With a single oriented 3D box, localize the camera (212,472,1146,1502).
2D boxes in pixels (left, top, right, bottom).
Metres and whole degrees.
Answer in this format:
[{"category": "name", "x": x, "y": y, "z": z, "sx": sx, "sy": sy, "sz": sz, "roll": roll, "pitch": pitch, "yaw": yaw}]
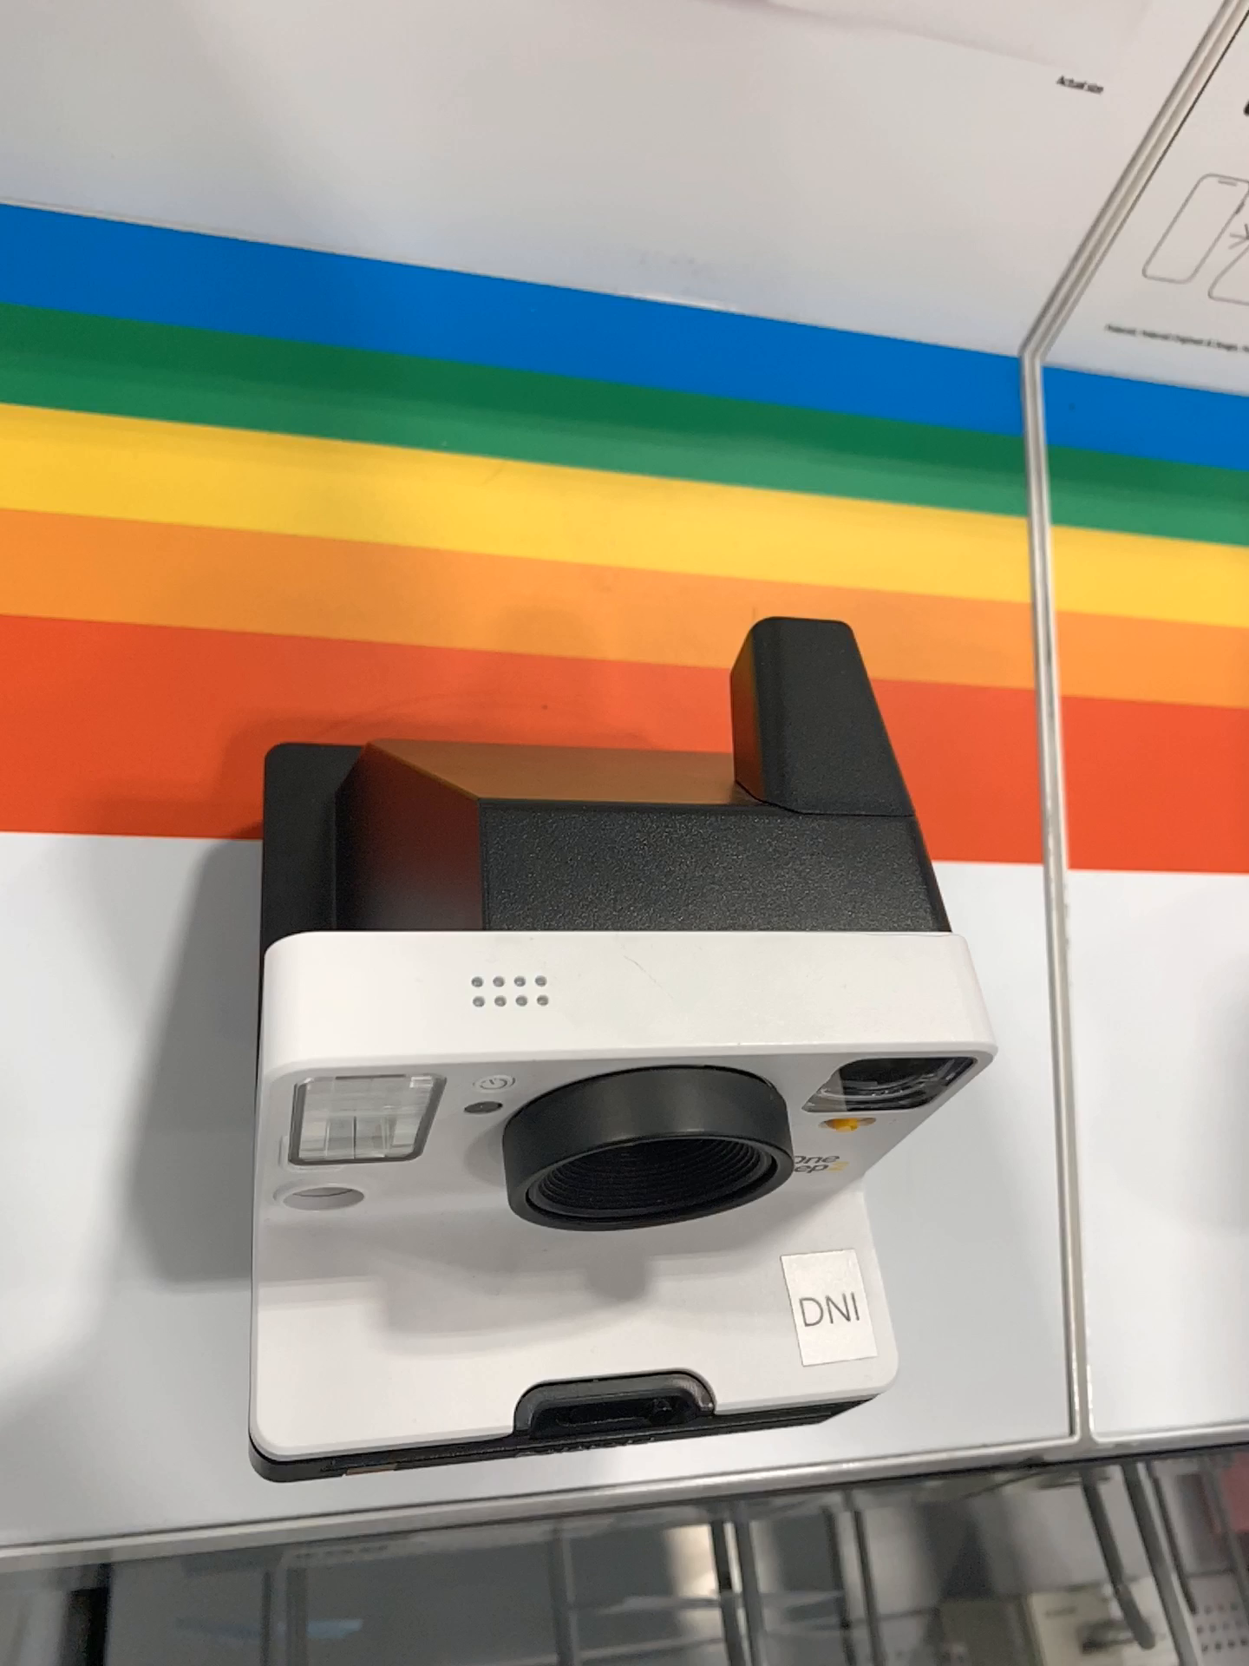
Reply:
[{"category": "camera", "x": -0.008, "y": 0.026, "z": 0.233, "sx": 0.120, "sy": 0.090, "sz": 0.145, "roll": 1, "pitch": 57, "yaw": -16}]
